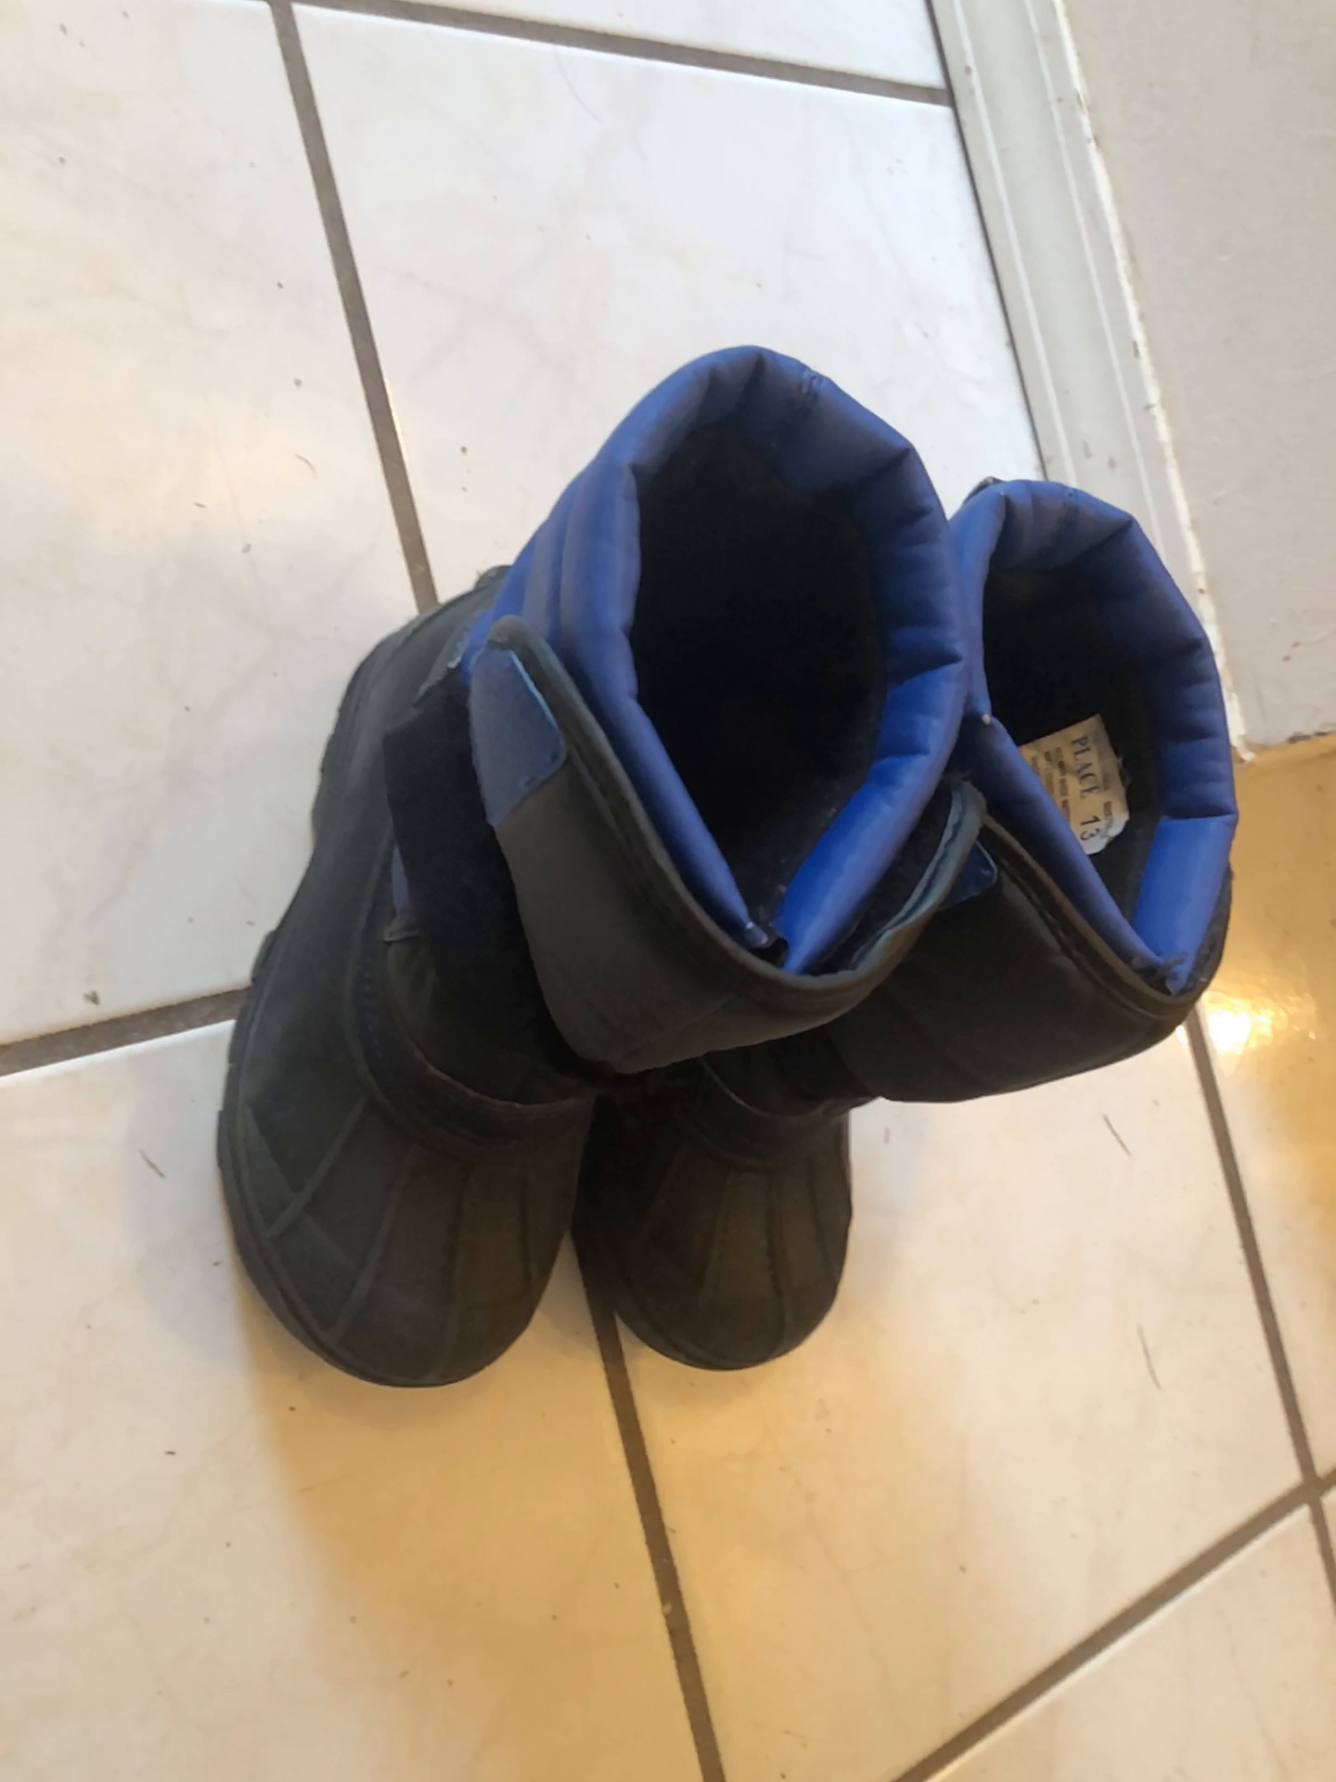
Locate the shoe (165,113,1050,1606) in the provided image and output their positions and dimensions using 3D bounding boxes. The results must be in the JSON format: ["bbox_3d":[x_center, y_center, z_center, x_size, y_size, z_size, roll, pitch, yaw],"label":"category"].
[{"bbox_3d":[-0.030,0.004,0.331,0.100,0.199,0.230,7,78,-32],"label":"shoe"}]

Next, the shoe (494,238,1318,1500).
[{"bbox_3d":[0.043,0.005,0.396,0.100,0.199,0.250,5,79,-32],"label":"shoe"}]
